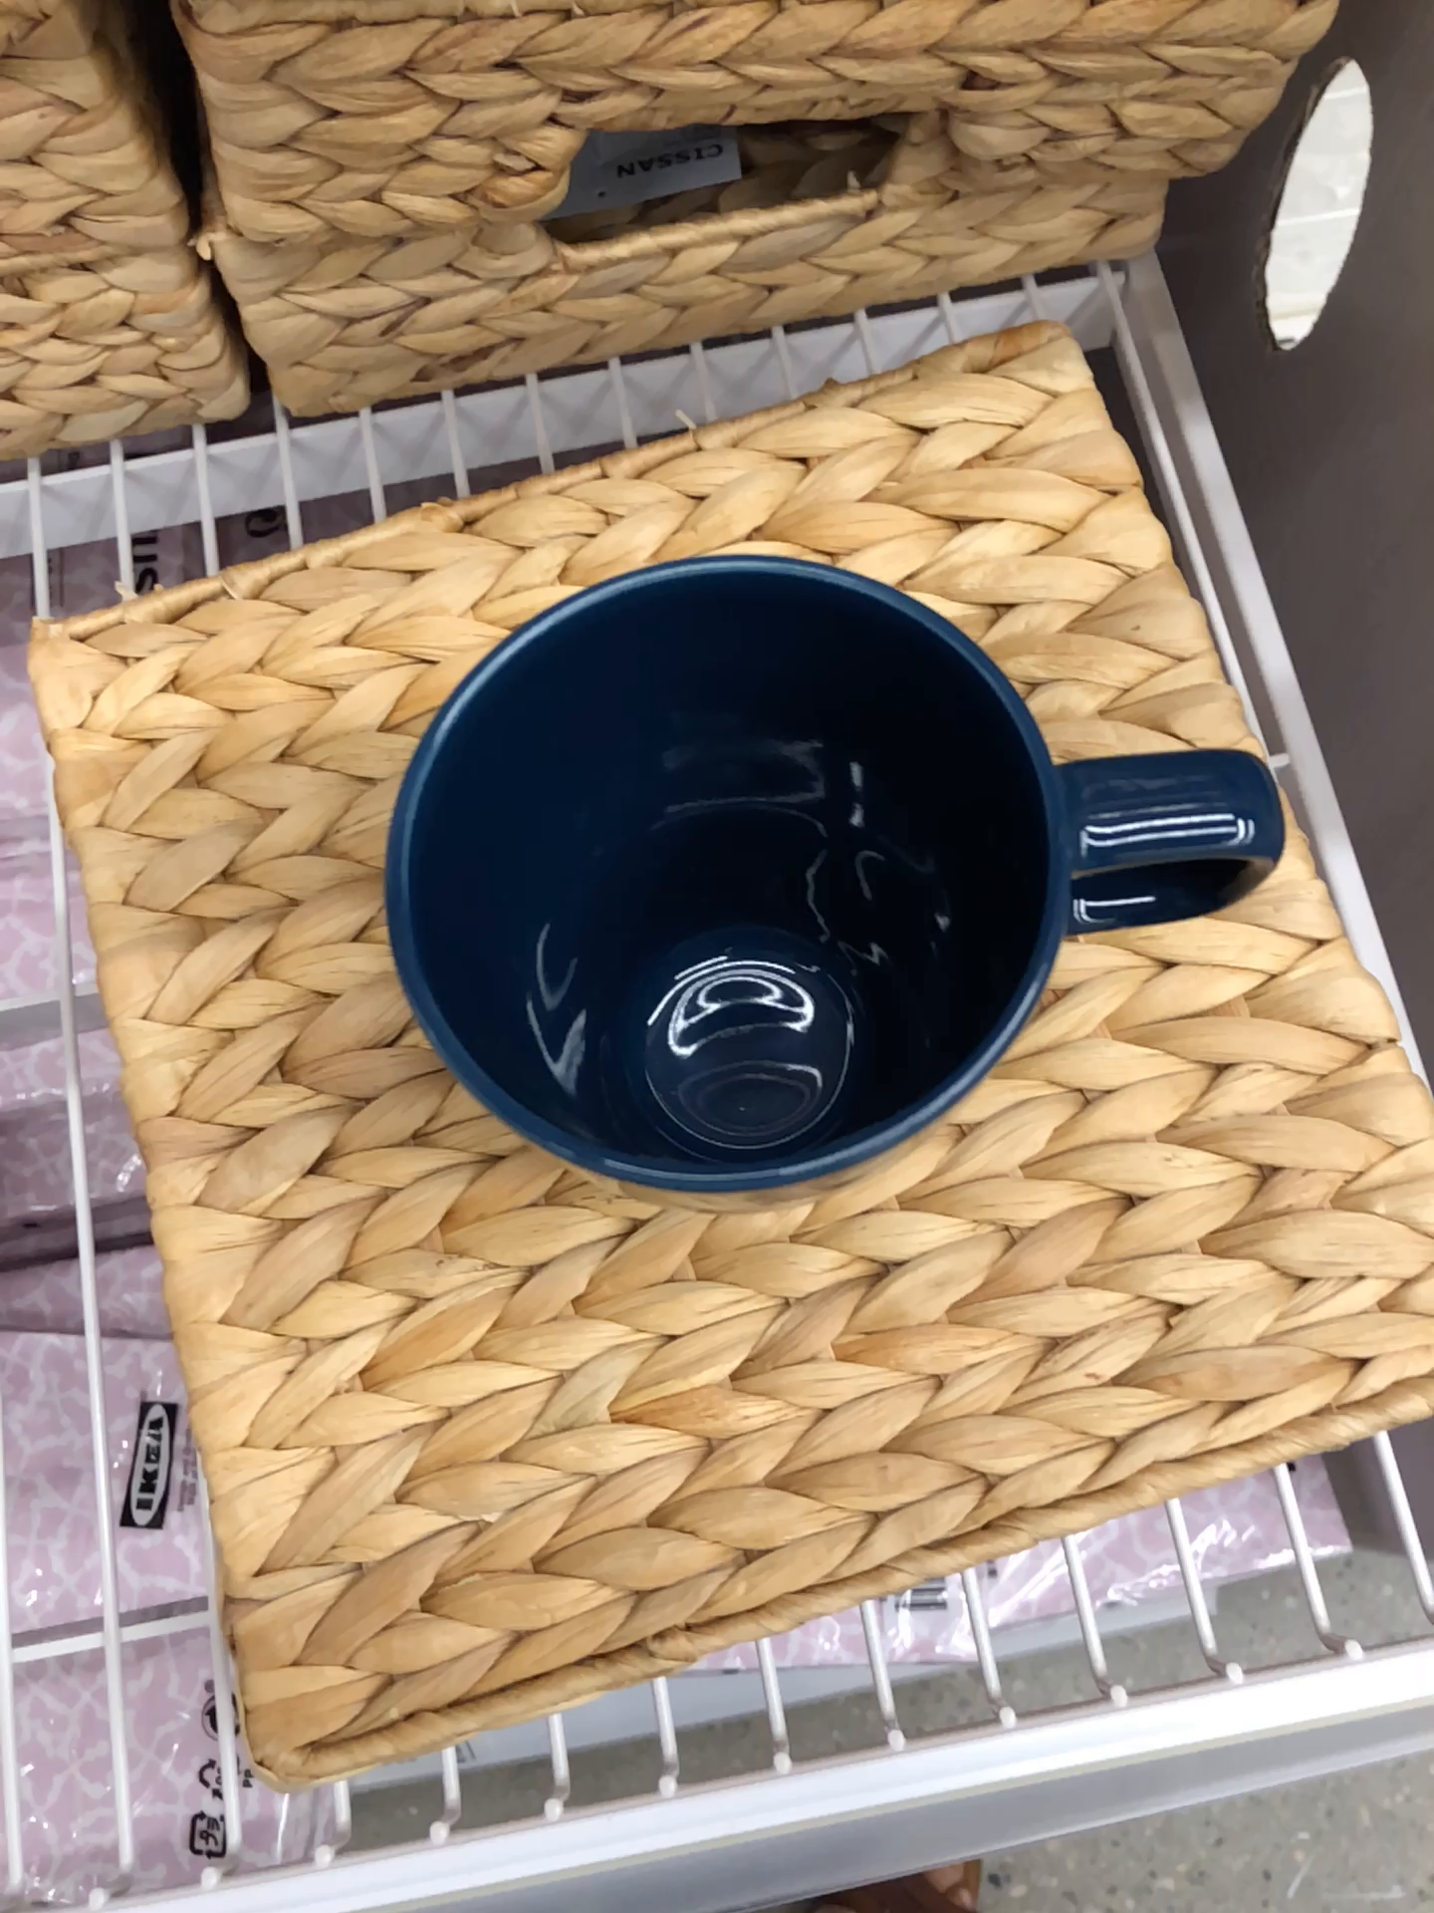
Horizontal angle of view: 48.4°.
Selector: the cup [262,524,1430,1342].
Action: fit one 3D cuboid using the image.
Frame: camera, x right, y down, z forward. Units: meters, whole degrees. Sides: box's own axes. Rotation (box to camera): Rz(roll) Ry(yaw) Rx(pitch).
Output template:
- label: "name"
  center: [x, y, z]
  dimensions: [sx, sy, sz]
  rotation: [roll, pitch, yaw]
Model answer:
- label: "cup"
  center: [0.013, 0.005, 0.219]
  dimensions: [0.120, 0.090, 0.080]
  rotation: [-4, 72, 2]
